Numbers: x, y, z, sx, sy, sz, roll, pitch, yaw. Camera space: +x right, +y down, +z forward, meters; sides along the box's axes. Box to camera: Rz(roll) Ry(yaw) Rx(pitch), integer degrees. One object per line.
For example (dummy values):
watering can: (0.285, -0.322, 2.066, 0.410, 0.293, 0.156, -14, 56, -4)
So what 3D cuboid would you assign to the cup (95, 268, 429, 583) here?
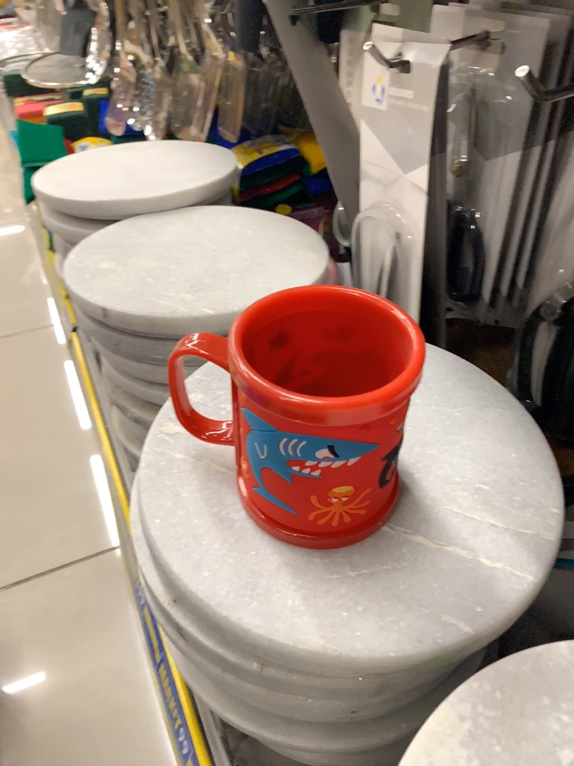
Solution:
cup: (-0.004, 0.016, 0.276, 0.120, 0.100, 0.080, 9, 39, 14)
